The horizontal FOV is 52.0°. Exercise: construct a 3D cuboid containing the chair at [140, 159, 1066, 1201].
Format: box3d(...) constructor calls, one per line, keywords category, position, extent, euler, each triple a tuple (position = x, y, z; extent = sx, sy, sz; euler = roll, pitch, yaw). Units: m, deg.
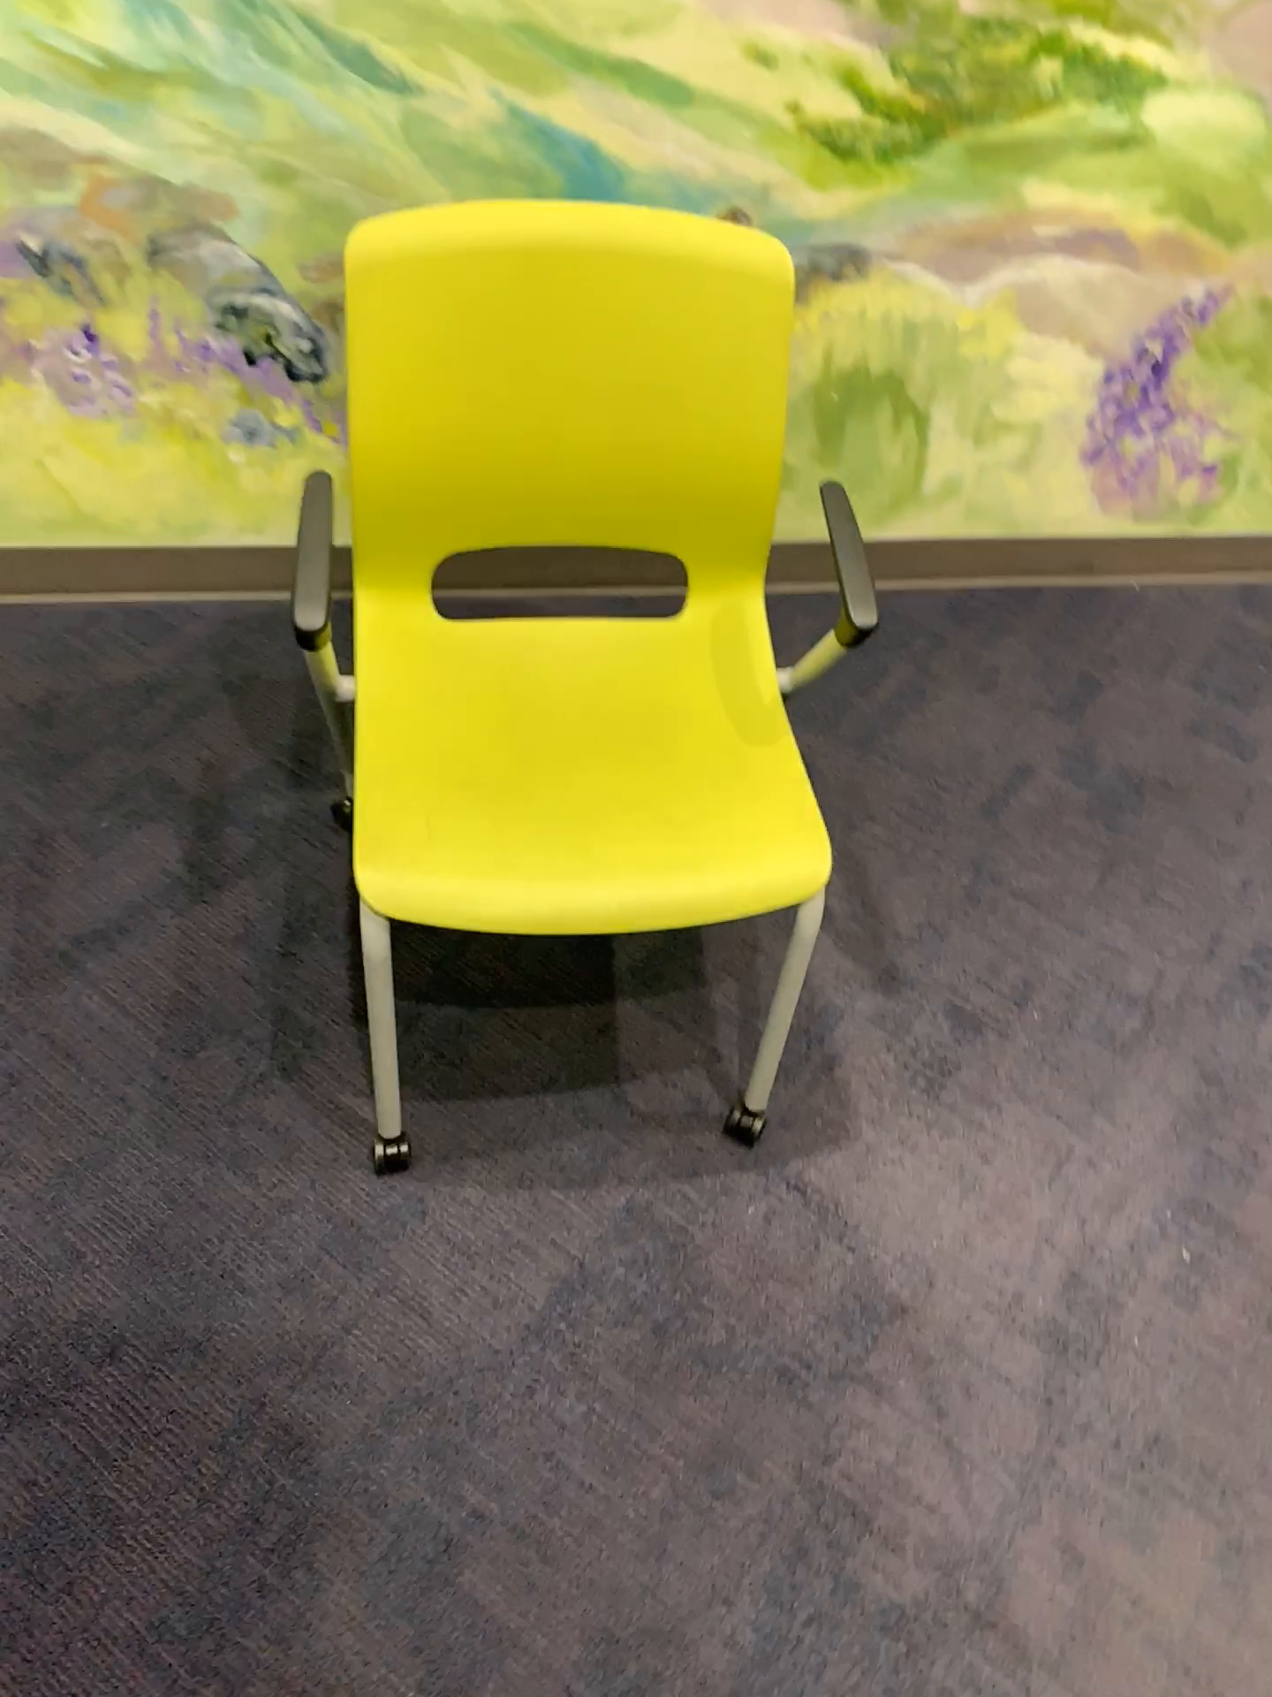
box3d(category="chair", position=(-0.072, -0.156, 1.337), extent=(0.590, 0.716, 0.744), euler=(0, 49, -7))
